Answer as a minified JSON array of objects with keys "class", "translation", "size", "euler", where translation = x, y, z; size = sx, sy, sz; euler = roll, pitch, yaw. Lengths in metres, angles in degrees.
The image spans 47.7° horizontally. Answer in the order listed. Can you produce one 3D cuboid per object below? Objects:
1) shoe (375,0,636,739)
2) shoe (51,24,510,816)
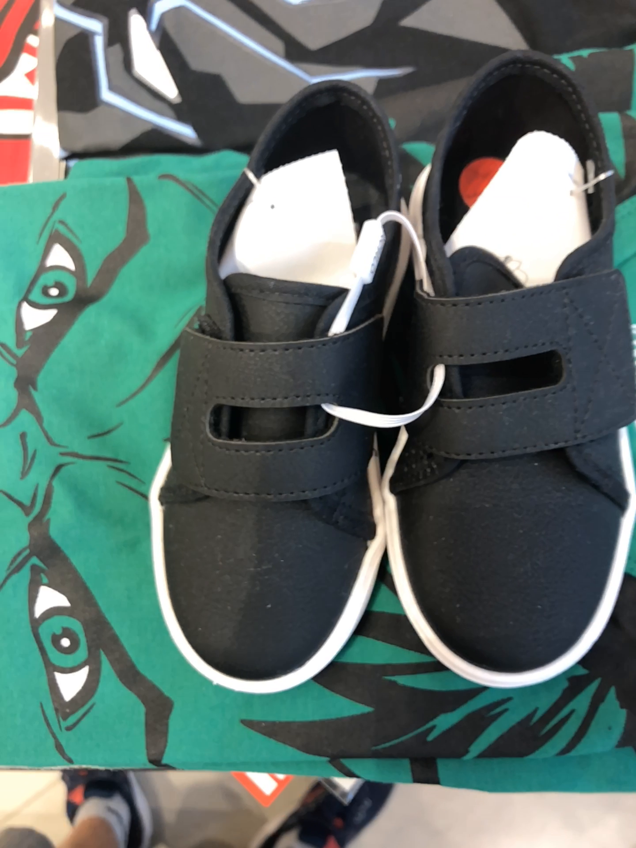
[{"class":"shoe","translation":[0.065,-0.013,0.206],"size":[0.090,0.090,0.170],"euler":[1,81,0]},{"class":"shoe","translation":[-0.004,-0.002,0.204],"size":[0.080,0.090,0.170],"euler":[7,81,1]}]
